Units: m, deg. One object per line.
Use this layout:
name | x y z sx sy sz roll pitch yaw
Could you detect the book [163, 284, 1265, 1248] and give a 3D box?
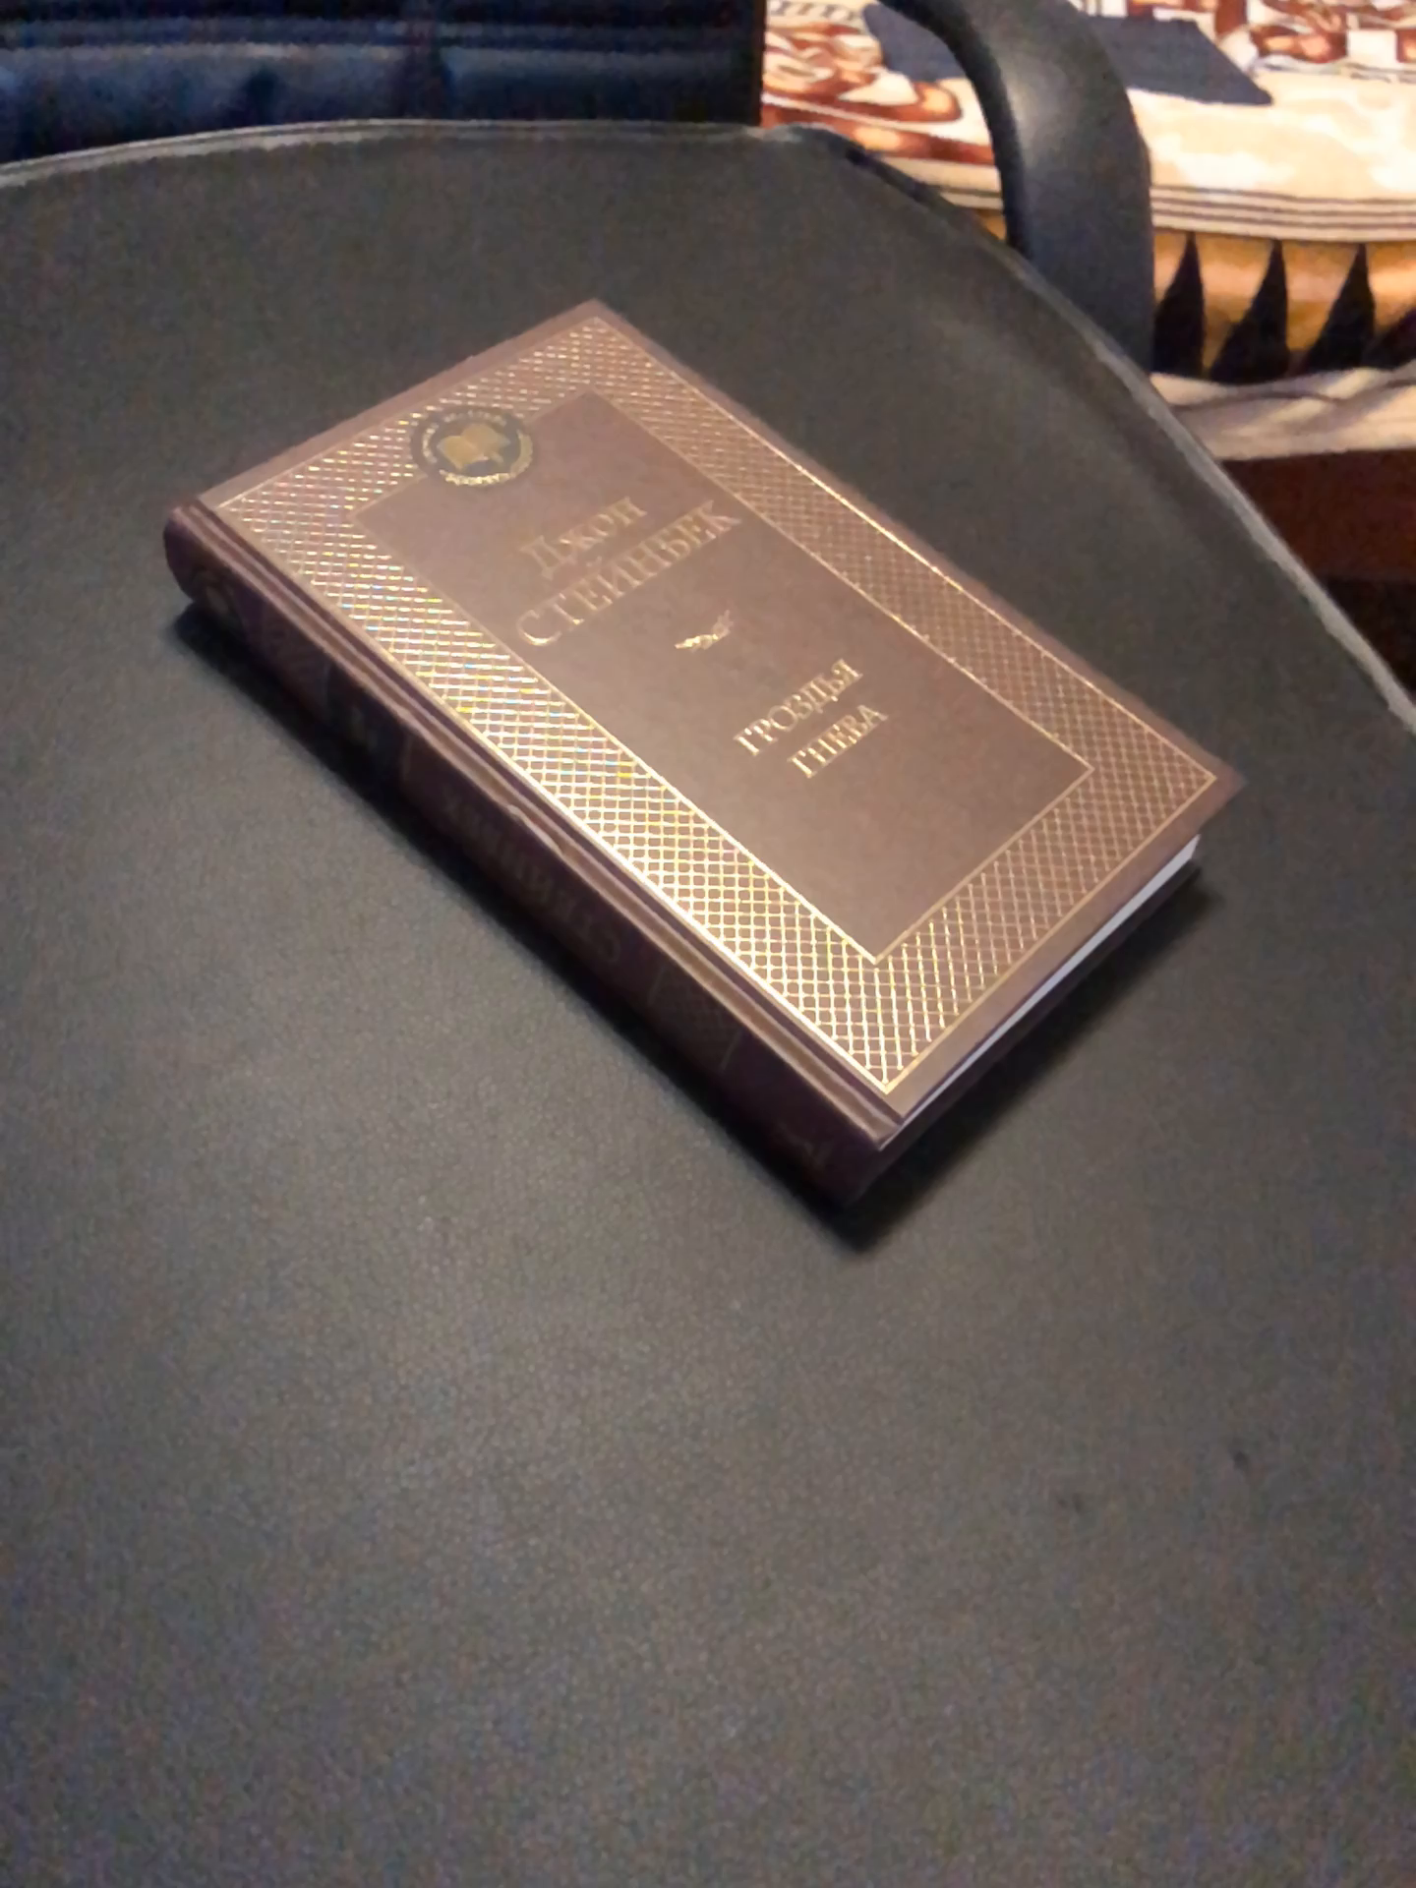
book | 0.000 -0.052 0.344 0.199 0.040 0.131 42 59 16
